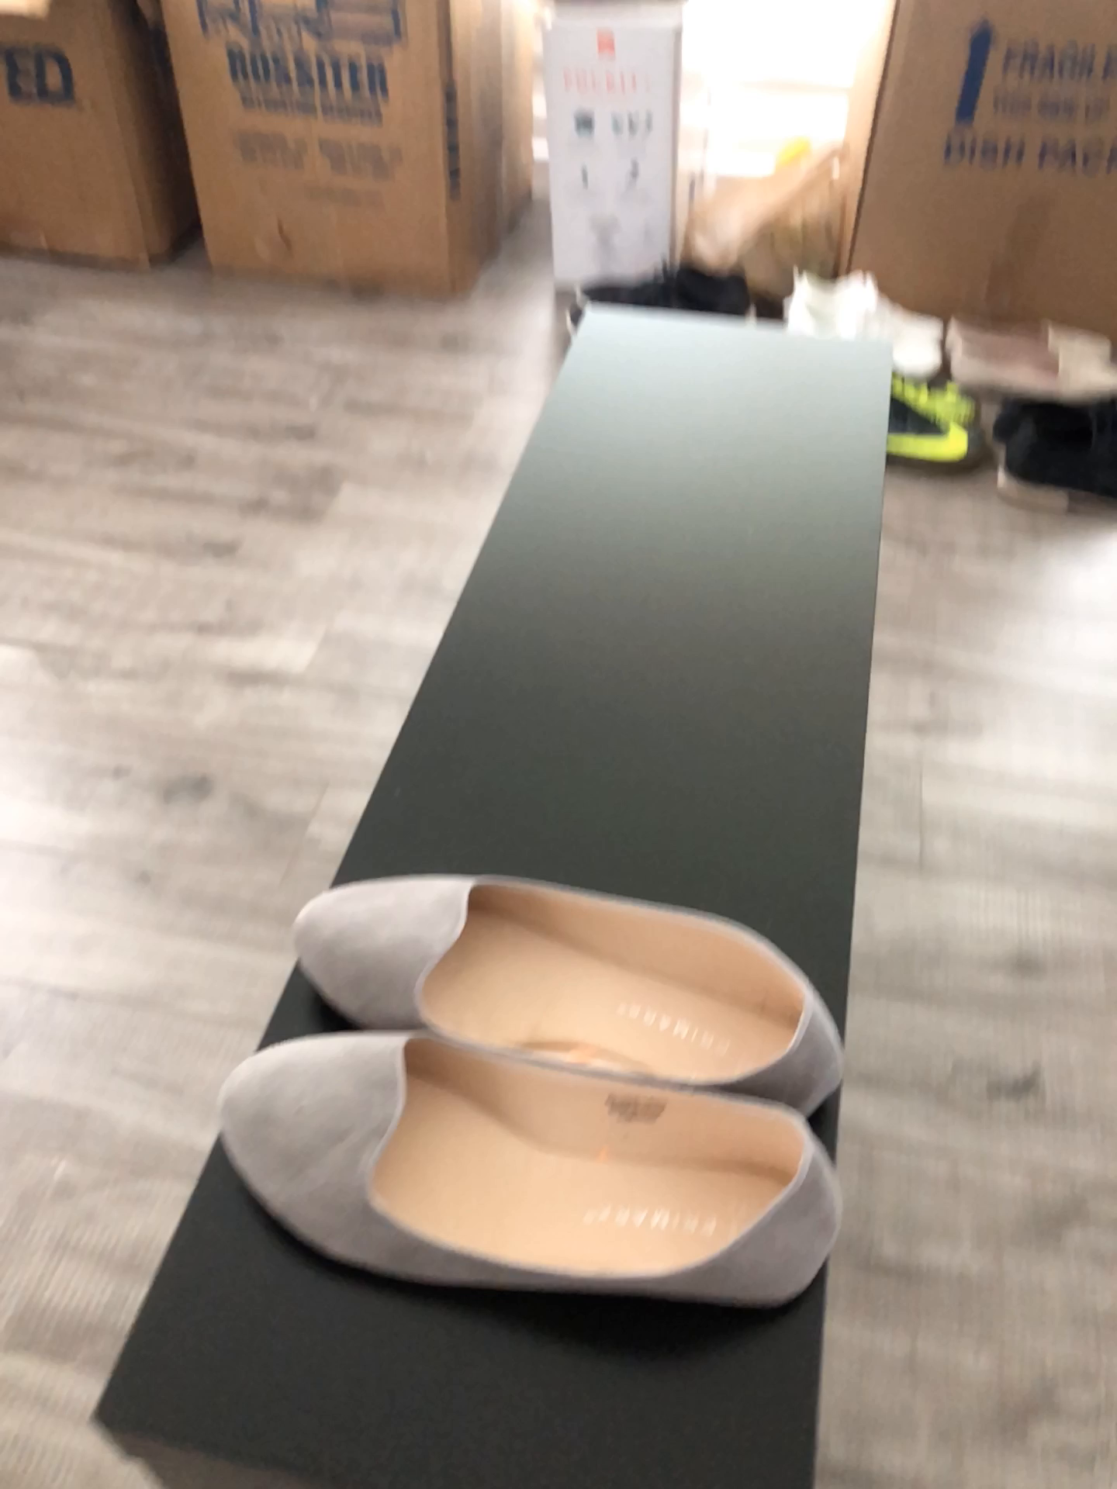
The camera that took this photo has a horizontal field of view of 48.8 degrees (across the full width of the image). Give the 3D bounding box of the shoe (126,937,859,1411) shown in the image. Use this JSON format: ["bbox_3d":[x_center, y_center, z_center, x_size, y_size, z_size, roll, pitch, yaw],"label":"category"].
[{"bbox_3d":[-0.022,0.161,0.482,0.256,0.060,0.100,11,46,10],"label":"shoe"}]

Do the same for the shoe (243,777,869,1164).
[{"bbox_3d":[0.001,0.095,0.548,0.250,0.060,0.100,11,46,10],"label":"shoe"}]
